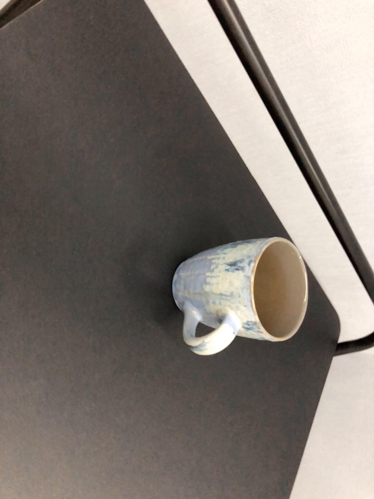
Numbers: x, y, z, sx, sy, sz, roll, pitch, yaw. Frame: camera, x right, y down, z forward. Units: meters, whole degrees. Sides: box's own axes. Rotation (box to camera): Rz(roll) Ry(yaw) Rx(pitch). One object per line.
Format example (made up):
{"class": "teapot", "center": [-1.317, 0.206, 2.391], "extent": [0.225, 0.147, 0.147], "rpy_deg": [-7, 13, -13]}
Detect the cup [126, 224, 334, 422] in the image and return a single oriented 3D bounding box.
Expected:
{"class": "cup", "center": [0.041, 0.056, 0.353], "extent": [0.121, 0.107, 0.089], "rpy_deg": [-52, 121, -36]}
